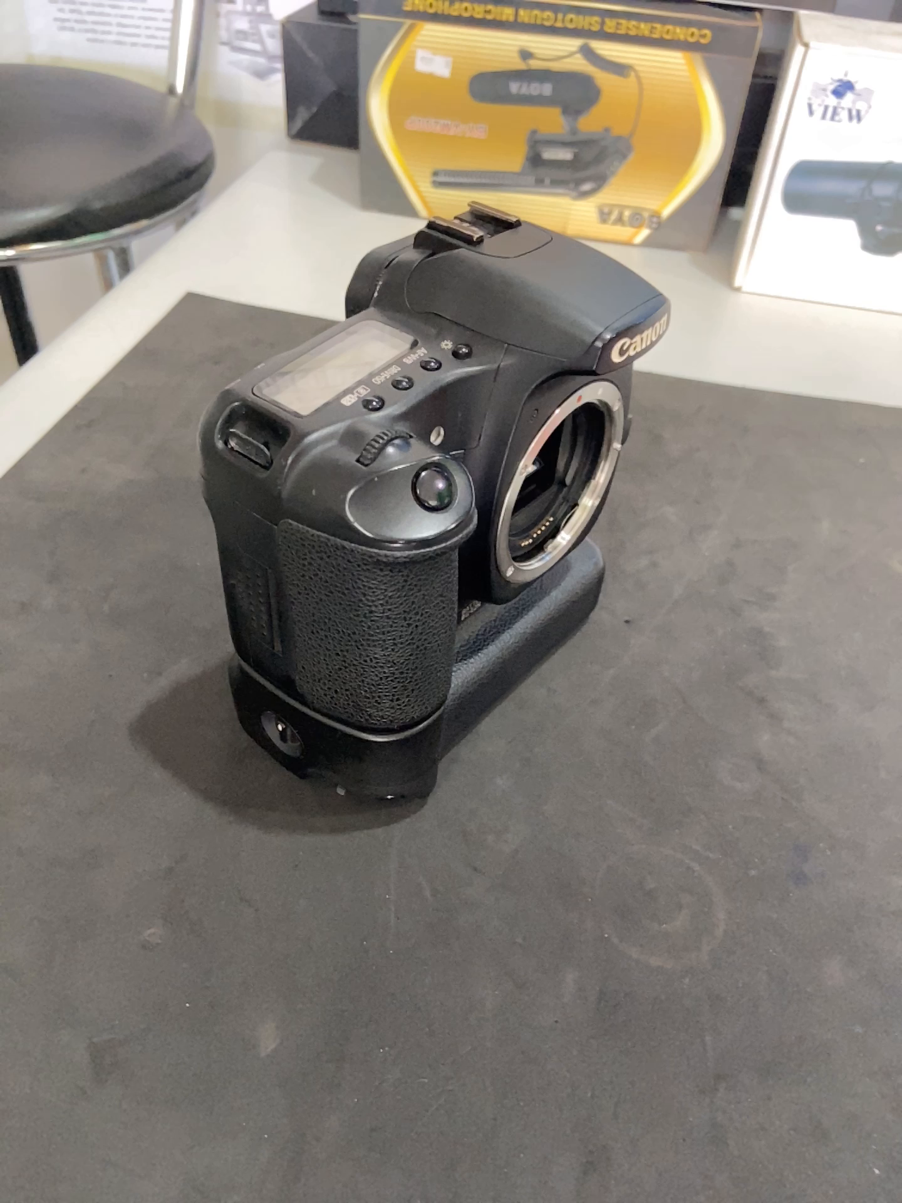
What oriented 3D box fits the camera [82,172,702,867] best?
[{"bbox_3d":[-0.010,-0.030,0.279,0.080,0.139,0.141,30,48,27],"label":"camera"}]
